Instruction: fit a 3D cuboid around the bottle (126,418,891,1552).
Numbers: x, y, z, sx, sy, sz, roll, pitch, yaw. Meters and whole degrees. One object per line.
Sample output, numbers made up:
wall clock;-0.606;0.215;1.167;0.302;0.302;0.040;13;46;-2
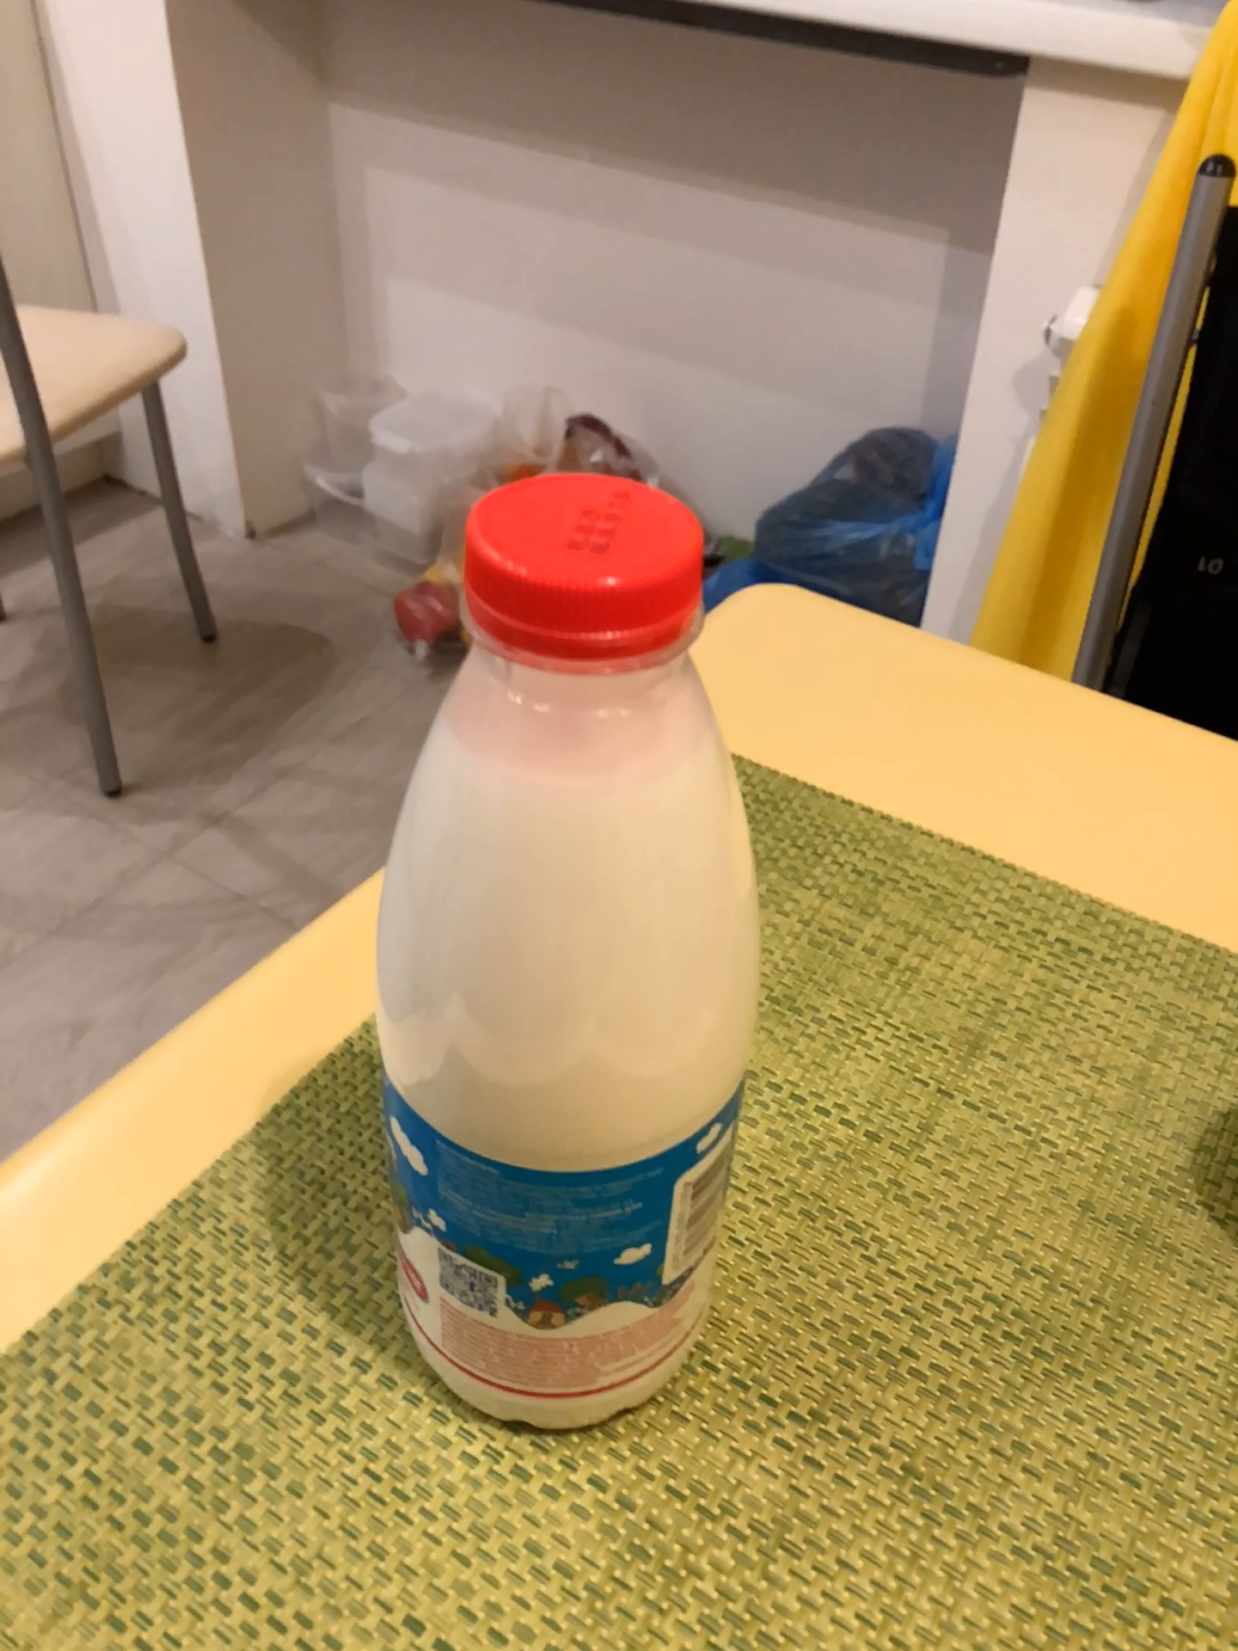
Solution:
bottle;-0.018;0.043;0.292;0.090;0.218;0.091;2;39;-1
